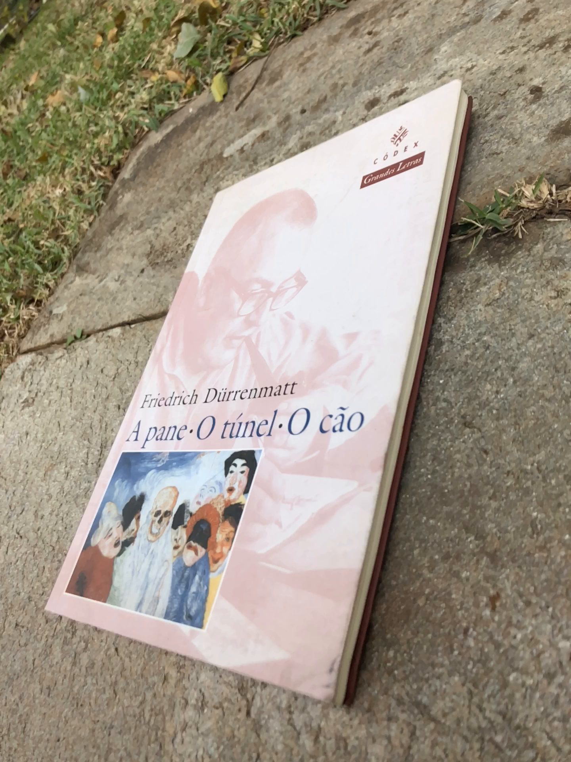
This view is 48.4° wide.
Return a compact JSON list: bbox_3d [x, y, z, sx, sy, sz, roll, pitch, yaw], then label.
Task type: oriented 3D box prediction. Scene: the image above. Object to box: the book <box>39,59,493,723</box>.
[{"bbox_3d":[-0.007,-0.010,0.235,0.138,0.020,0.210,-7,58,43],"label":"book"}]
